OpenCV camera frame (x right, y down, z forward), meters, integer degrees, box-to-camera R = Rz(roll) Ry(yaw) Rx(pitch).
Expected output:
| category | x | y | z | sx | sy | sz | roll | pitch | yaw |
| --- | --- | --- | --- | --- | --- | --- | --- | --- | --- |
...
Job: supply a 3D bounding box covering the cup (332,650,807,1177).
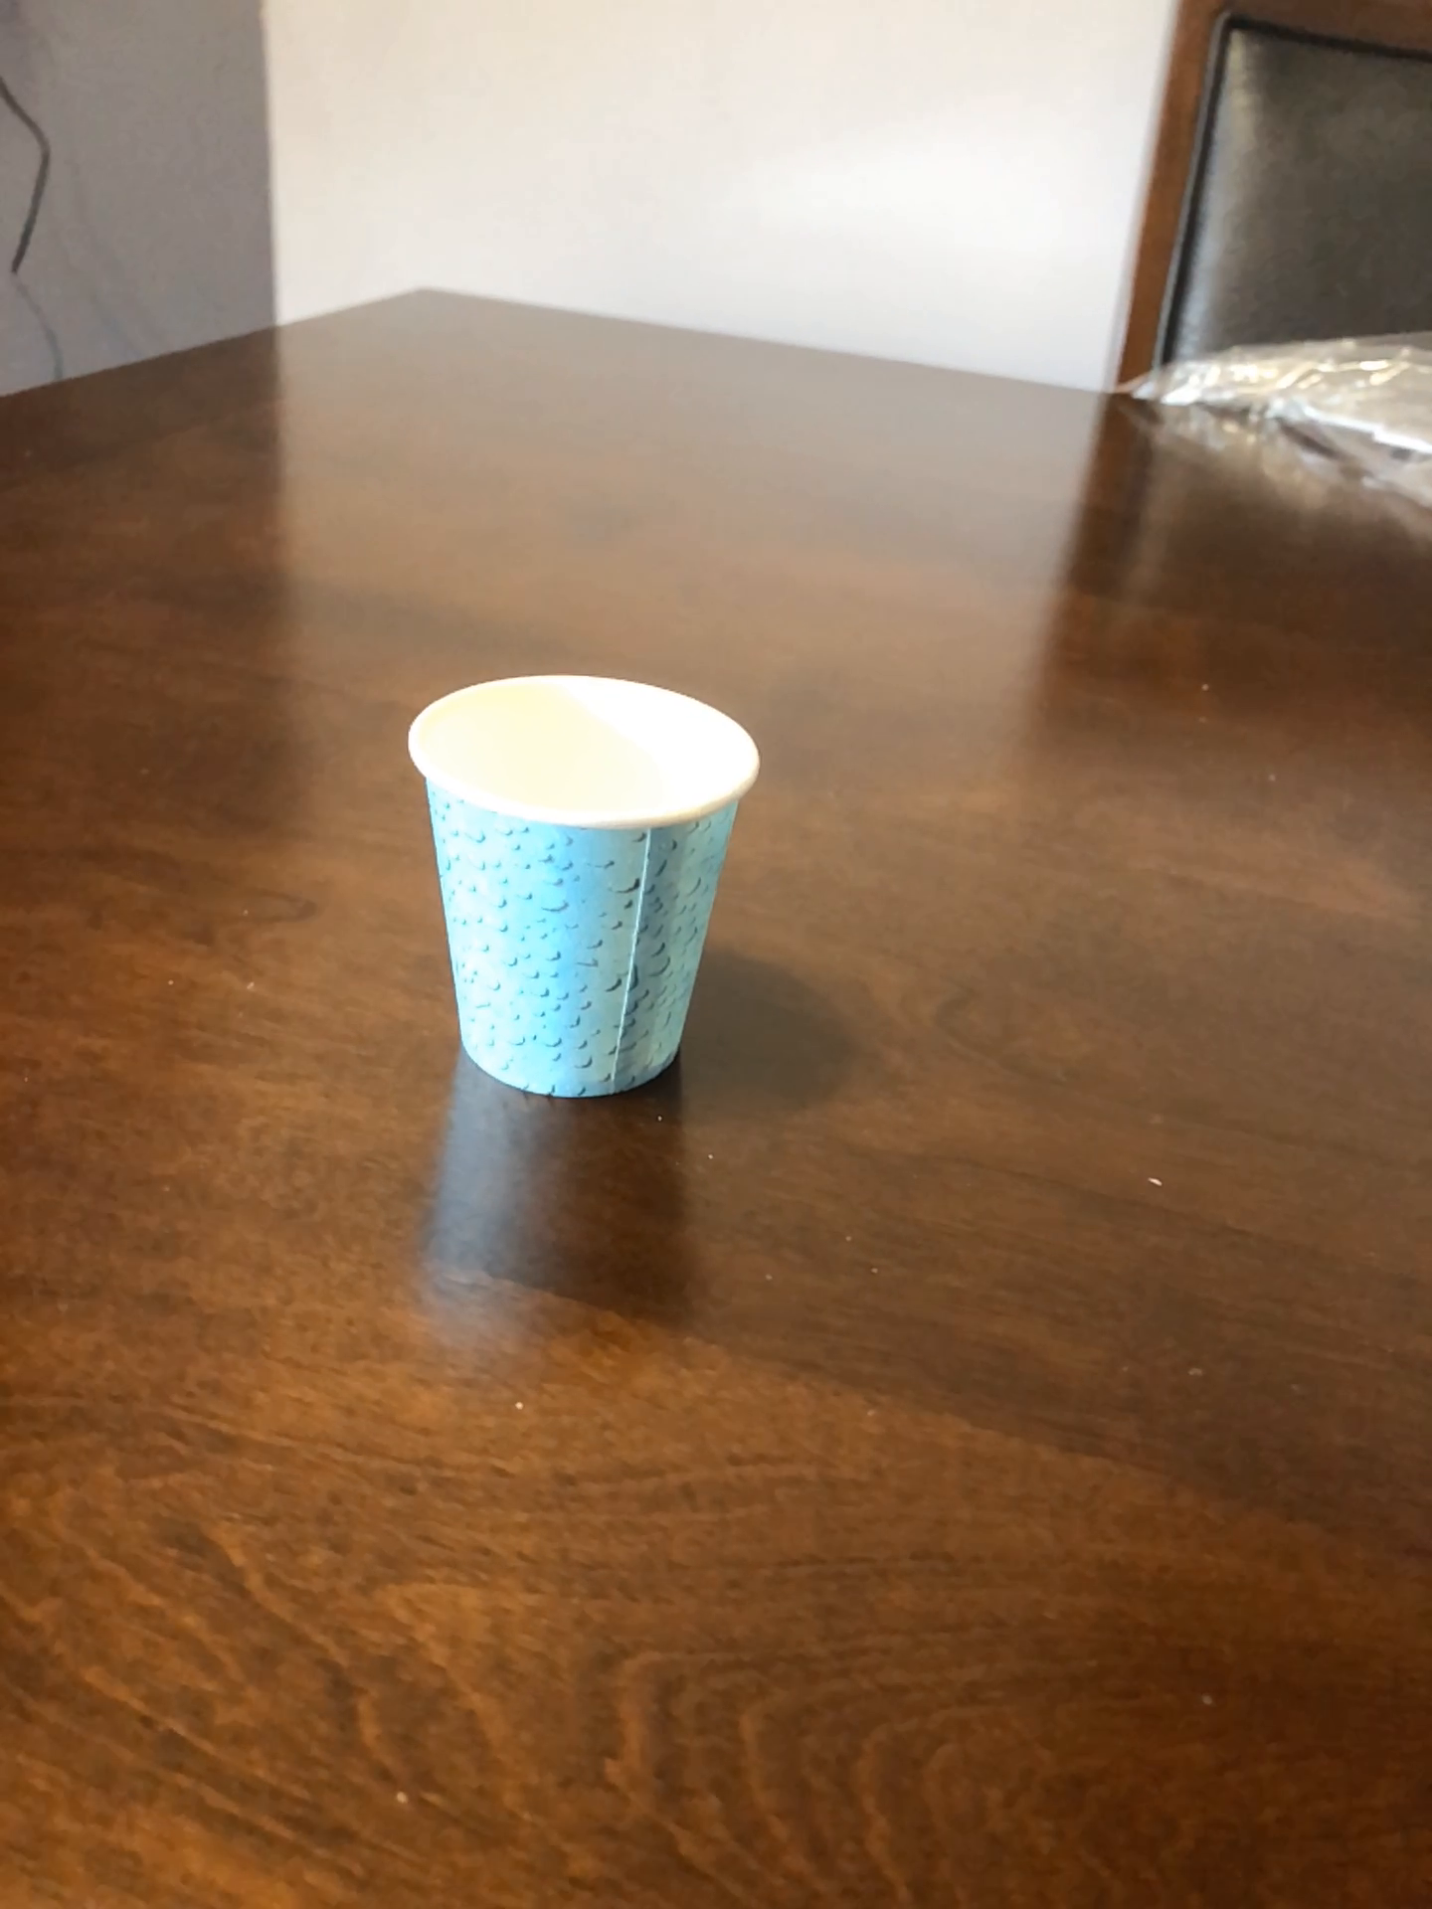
| category | x | y | z | sx | sy | sz | roll | pitch | yaw |
| --- | --- | --- | --- | --- | --- | --- | --- | --- | --- |
| cup | -0.024 | -0.010 | 0.277 | 0.060 | 0.060 | 0.060 | 4 | 30 | -3 |
